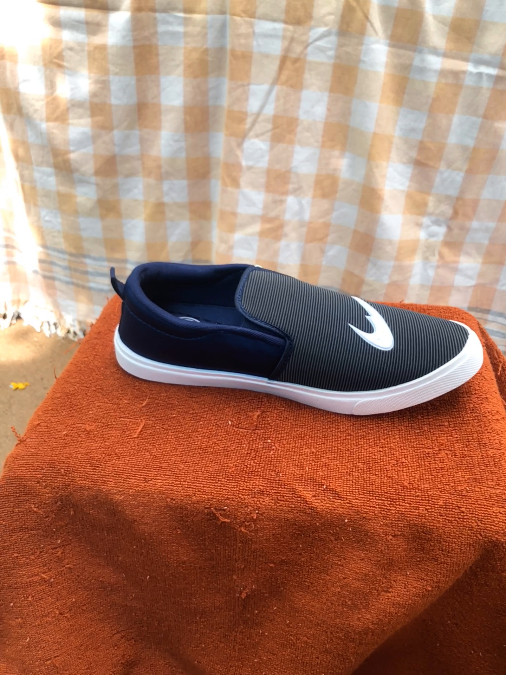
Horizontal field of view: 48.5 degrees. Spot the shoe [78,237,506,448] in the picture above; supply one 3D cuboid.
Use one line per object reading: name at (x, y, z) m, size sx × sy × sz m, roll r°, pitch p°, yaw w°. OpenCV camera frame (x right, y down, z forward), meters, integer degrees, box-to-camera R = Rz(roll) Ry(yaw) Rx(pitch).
shoe at (0.029, -0.004, 0.447) m, size 0.300 × 0.080 × 0.101 m, roll 9°, pitch 35°, yaw 8°
